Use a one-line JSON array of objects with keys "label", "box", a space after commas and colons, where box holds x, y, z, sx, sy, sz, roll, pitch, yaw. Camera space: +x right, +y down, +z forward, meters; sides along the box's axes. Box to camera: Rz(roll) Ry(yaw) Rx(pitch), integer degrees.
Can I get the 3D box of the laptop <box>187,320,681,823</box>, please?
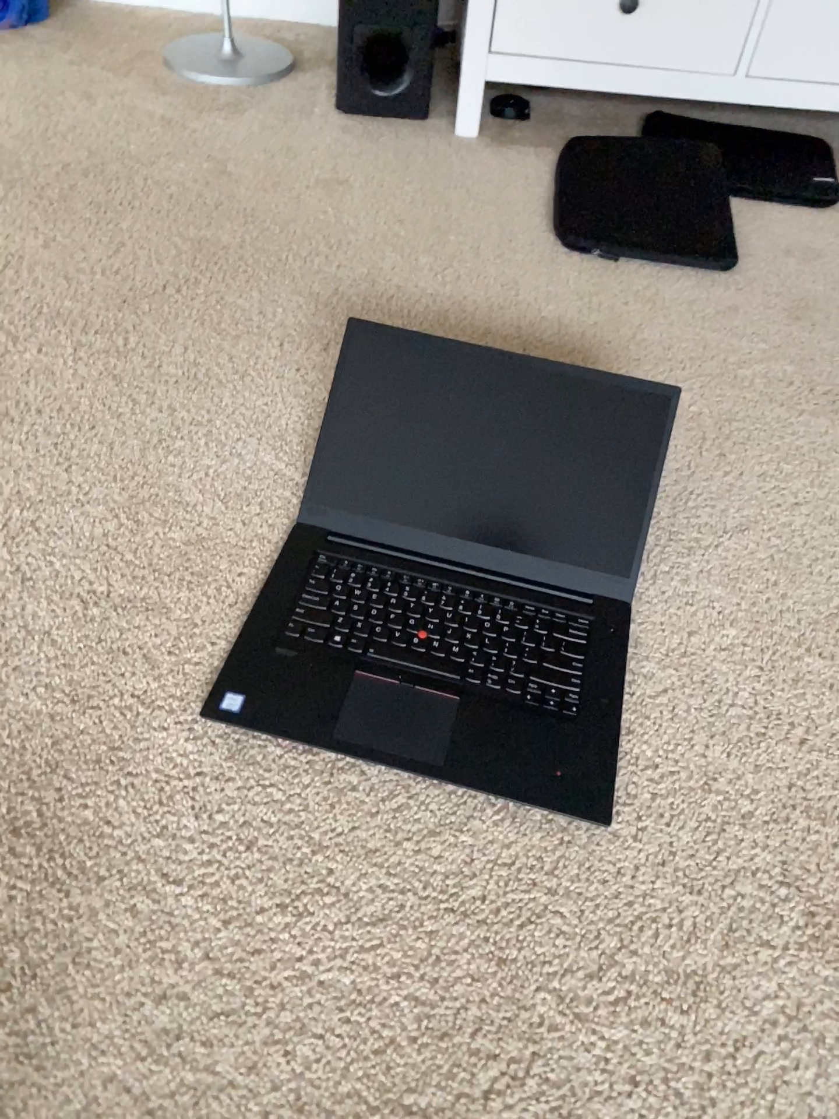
[{"label": "laptop", "box": [0.044, -0.021, 0.827, 0.360, 0.141, 0.434, 14, 48, 6]}]
